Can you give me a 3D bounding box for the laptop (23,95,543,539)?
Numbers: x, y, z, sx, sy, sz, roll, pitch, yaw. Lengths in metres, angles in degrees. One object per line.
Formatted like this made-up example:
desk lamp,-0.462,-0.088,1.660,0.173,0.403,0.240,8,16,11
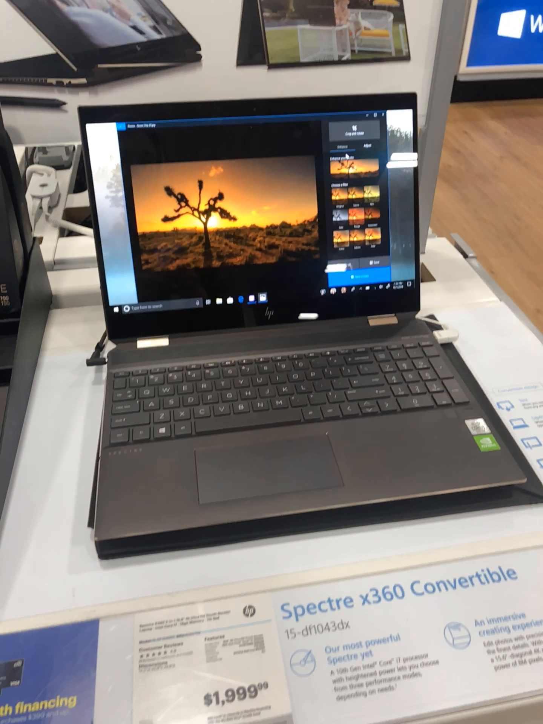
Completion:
laptop,0.004,-0.078,0.555,0.348,0.208,0.361,-6,40,-8
